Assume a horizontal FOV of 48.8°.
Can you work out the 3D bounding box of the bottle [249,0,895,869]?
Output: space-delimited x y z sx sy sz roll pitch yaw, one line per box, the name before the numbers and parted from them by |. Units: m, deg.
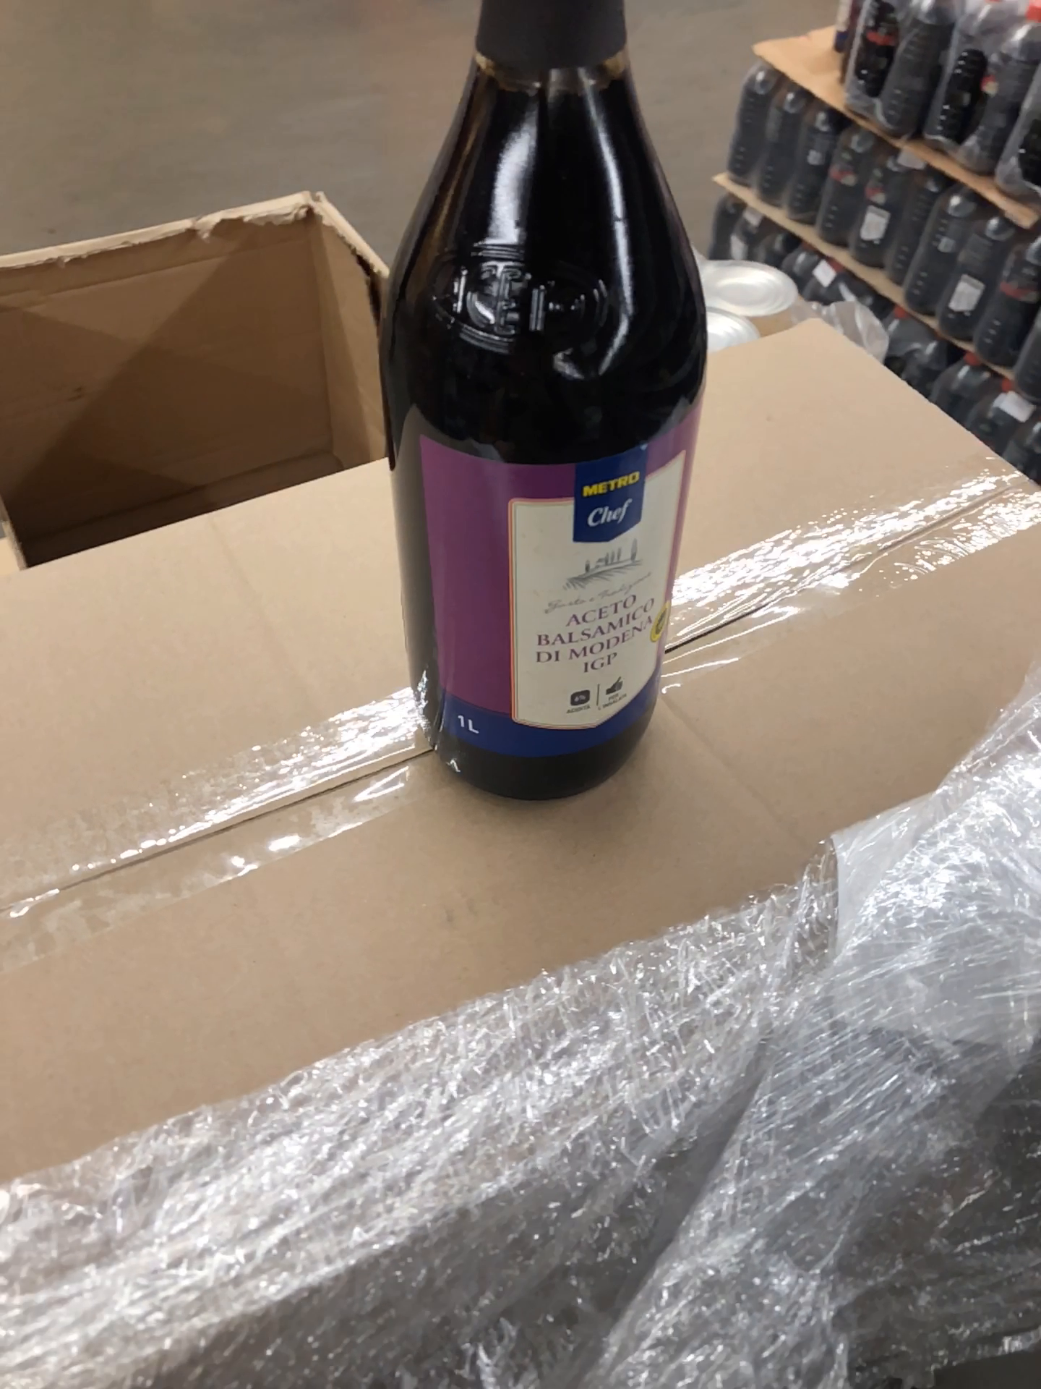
bottle | 0.003 -0.074 0.315 0.090 0.257 0.090 1 49 -1
